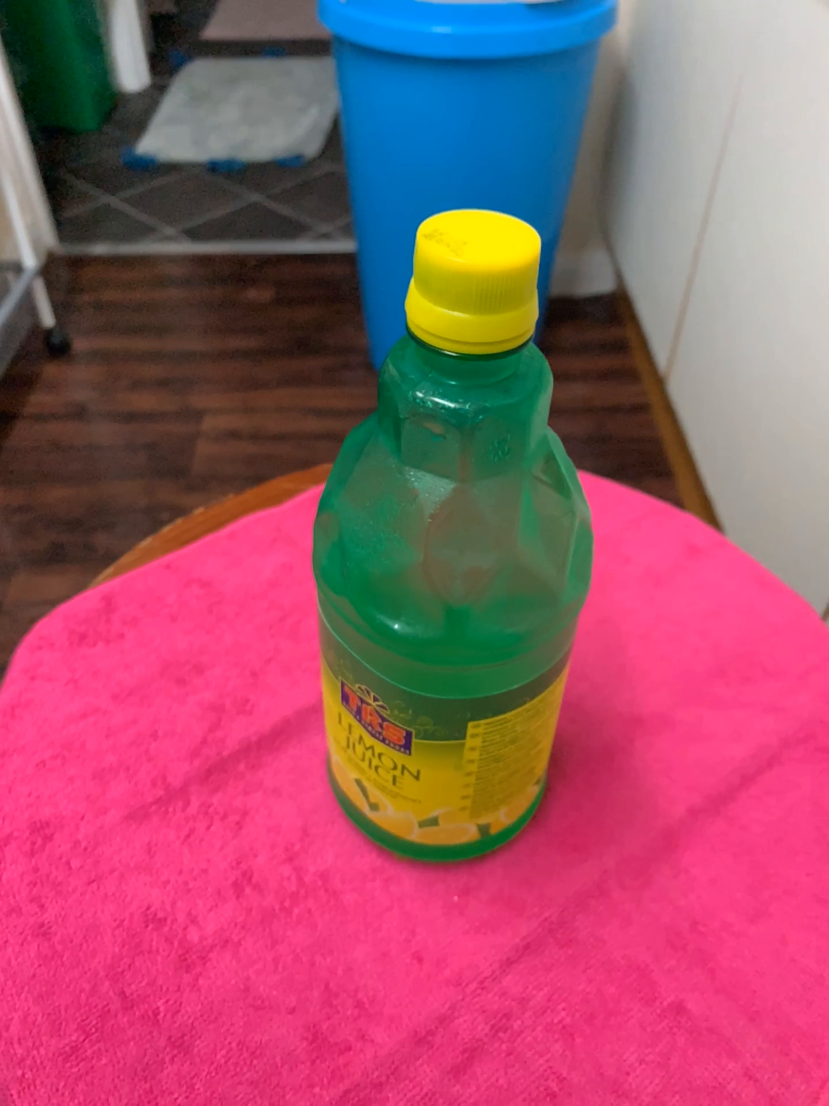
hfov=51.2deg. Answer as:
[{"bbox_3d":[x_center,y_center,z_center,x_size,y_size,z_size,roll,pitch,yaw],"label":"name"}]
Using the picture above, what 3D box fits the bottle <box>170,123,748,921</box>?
[{"bbox_3d":[0.012,0.005,0.280,0.100,0.228,0.091,27,51,24],"label":"bottle"}]
